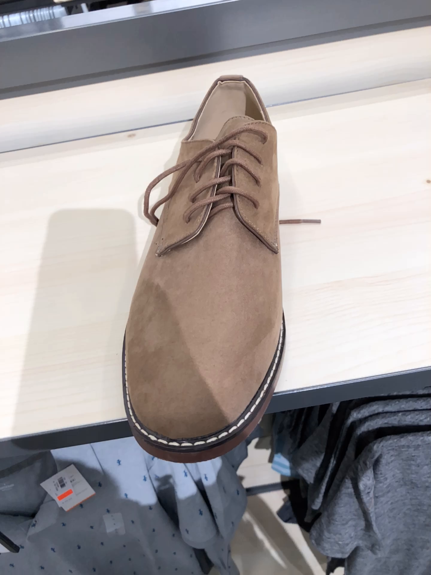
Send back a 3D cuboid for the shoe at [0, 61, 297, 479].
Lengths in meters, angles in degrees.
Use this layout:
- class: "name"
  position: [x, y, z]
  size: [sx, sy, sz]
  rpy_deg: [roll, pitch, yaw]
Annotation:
- class: "shoe"
  position: [-0.008, -0.041, 0.341]
  size: [0.120, 0.110, 0.301]
  rpy_deg: [1, 46, 11]
